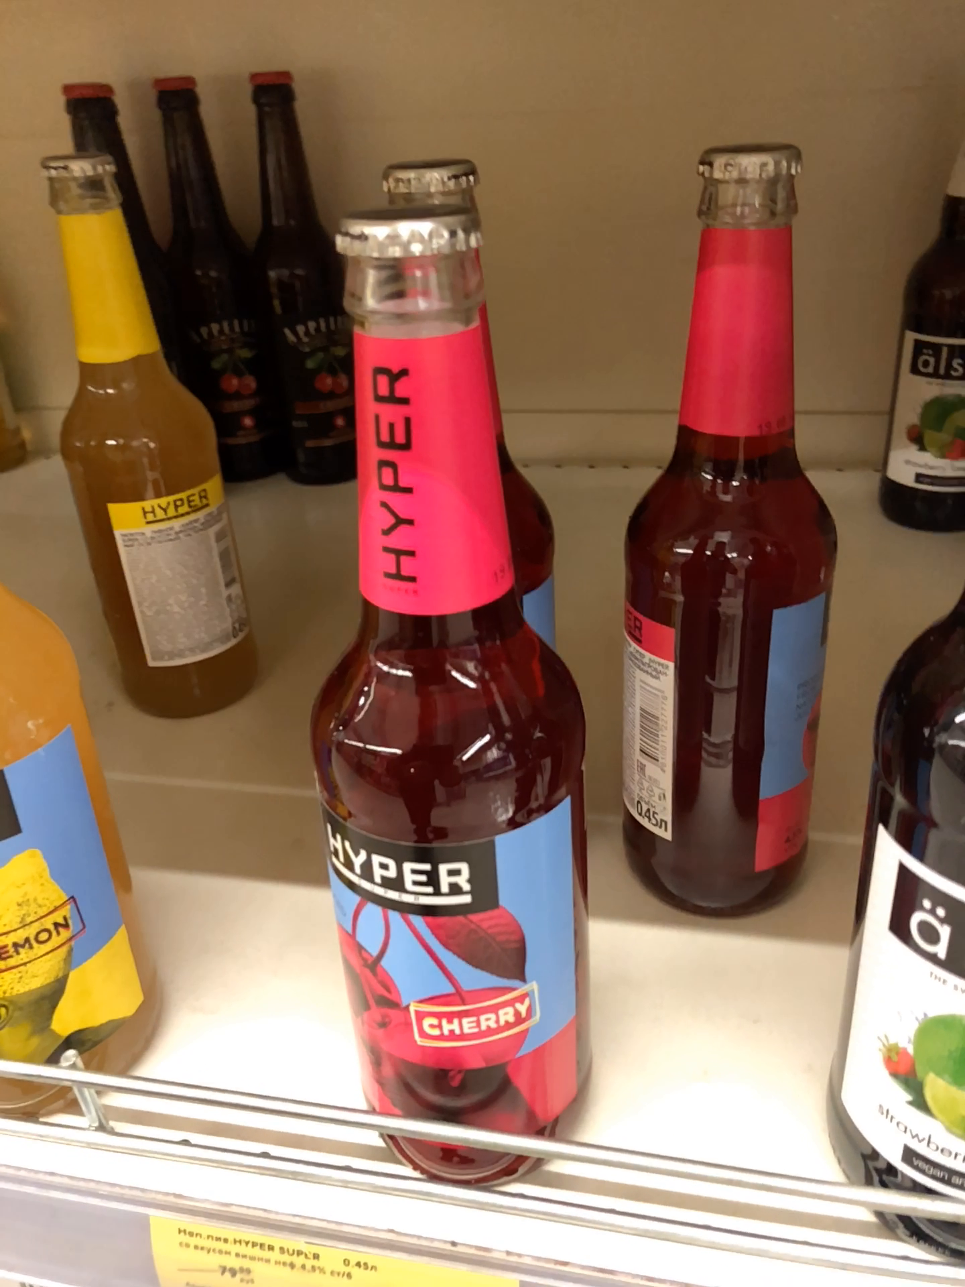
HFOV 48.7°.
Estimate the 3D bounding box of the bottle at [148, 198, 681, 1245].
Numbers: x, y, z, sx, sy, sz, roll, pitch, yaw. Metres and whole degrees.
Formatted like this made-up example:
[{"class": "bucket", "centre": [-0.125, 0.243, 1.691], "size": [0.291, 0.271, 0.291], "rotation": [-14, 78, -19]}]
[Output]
[{"class": "bottle", "centre": [-0.002, 0.027, 0.262], "size": [0.080, 0.243, 0.070], "rotation": [8, 30, 22]}]
